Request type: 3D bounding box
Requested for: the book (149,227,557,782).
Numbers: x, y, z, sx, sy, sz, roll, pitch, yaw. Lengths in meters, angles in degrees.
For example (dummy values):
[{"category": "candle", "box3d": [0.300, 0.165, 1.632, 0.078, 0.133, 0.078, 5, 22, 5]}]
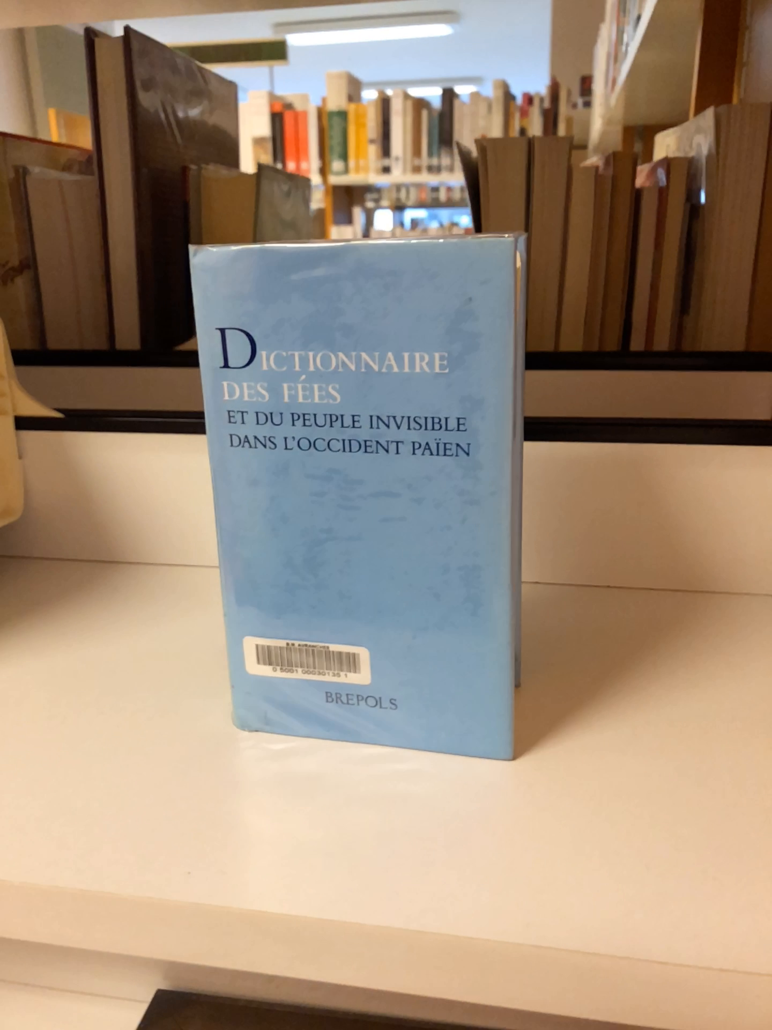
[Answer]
[{"category": "book", "box3d": [-0.005, -0.006, 0.317, 0.125, 0.186, 0.060, 3, 20, 14]}]
